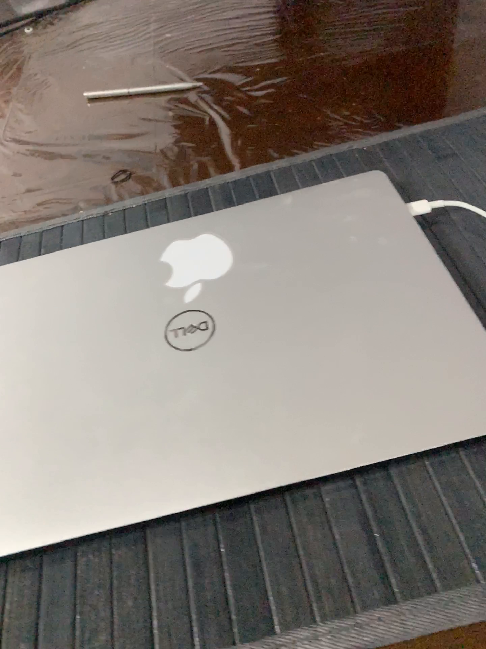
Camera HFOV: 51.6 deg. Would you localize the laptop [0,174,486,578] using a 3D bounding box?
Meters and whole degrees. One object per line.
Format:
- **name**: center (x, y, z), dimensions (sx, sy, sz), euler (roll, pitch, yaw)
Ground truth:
- **laptop**: center (-0.034, 0.004, 0.276), dimensions (0.271, 0.001, 0.189), euler (-15, 50, 0)
